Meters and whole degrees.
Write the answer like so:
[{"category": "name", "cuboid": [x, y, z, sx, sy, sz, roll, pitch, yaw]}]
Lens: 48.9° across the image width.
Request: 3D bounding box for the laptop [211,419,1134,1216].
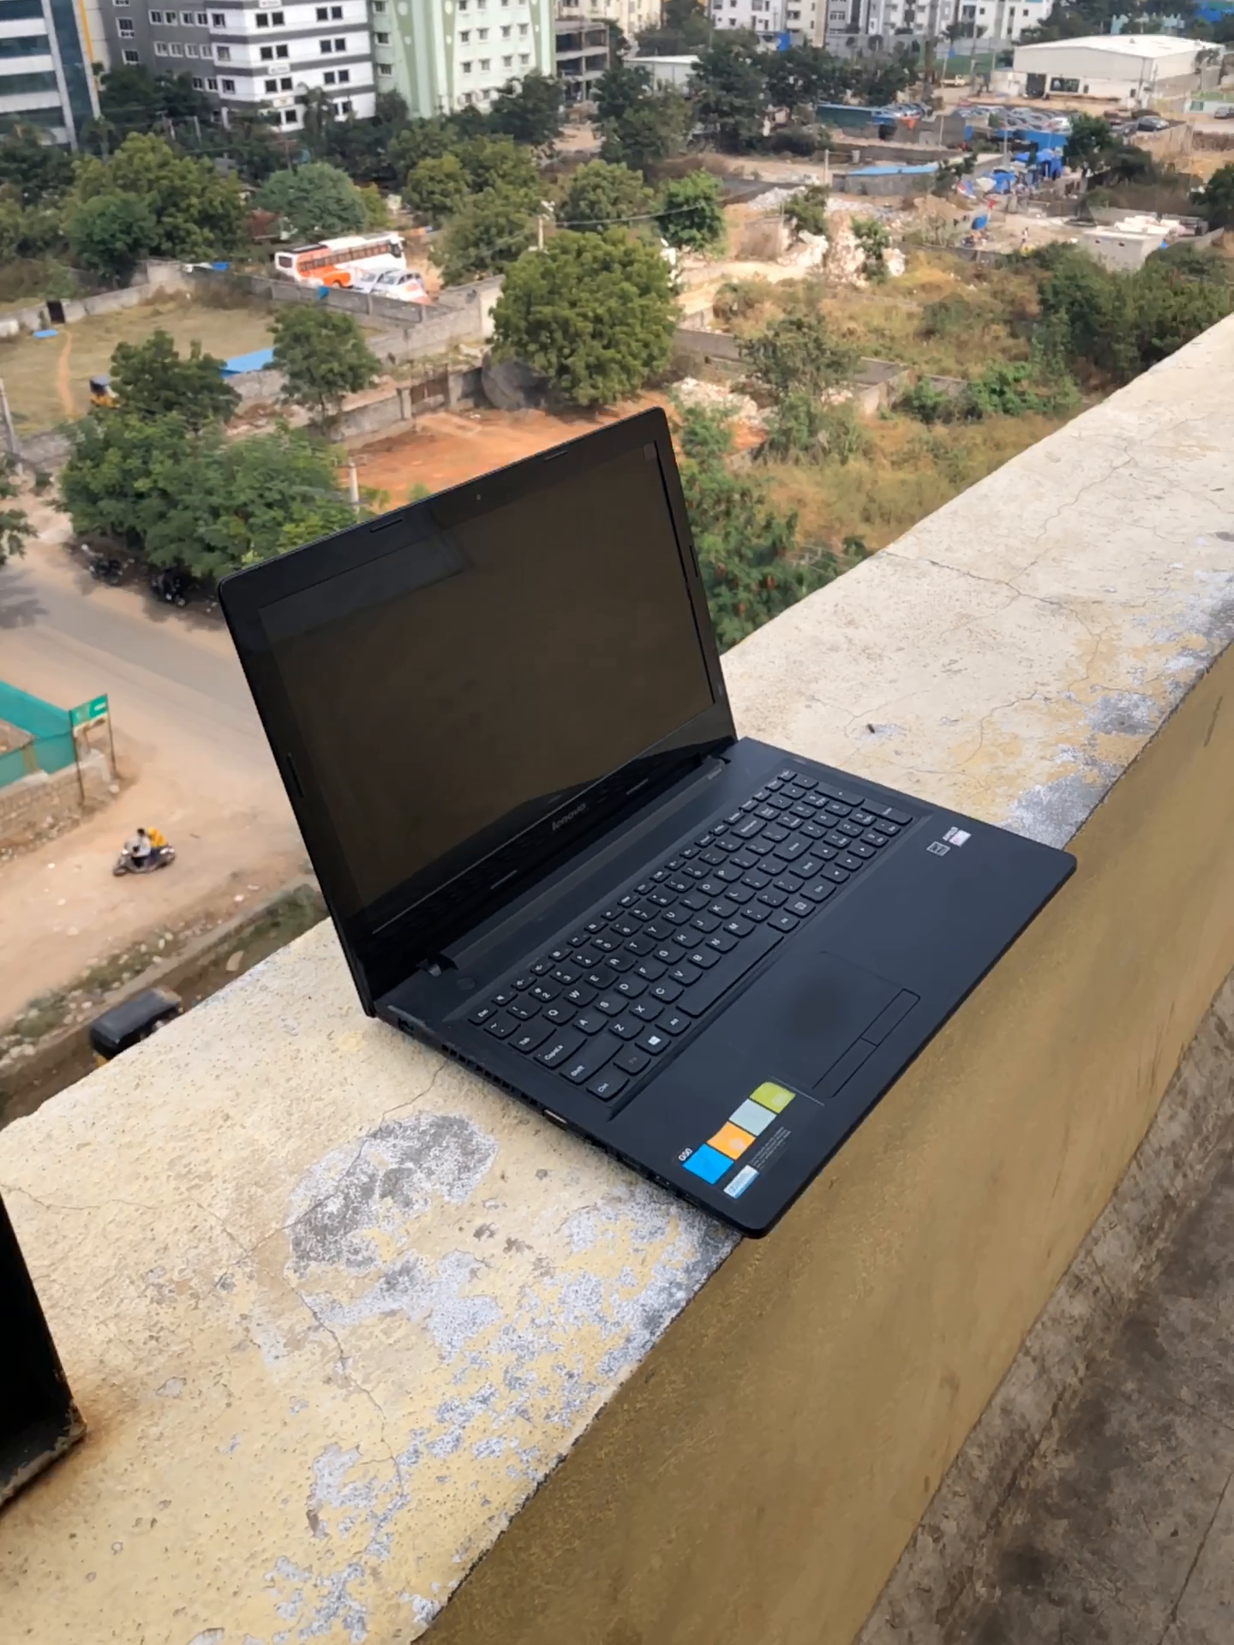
[{"category": "laptop", "cuboid": [0.044, -0.045, 0.771, 0.330, 0.229, 0.367, 22, 39, 30]}]
